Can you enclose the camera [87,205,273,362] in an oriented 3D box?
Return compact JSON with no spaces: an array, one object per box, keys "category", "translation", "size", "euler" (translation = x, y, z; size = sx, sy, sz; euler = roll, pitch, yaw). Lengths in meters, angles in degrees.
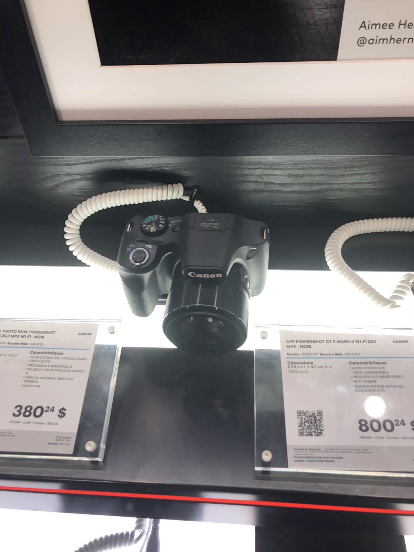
[{"category":"camera","translation":[-0.014,0.007,0.357],"size":[0.122,0.099,0.071],"euler":[1,43,5]}]
